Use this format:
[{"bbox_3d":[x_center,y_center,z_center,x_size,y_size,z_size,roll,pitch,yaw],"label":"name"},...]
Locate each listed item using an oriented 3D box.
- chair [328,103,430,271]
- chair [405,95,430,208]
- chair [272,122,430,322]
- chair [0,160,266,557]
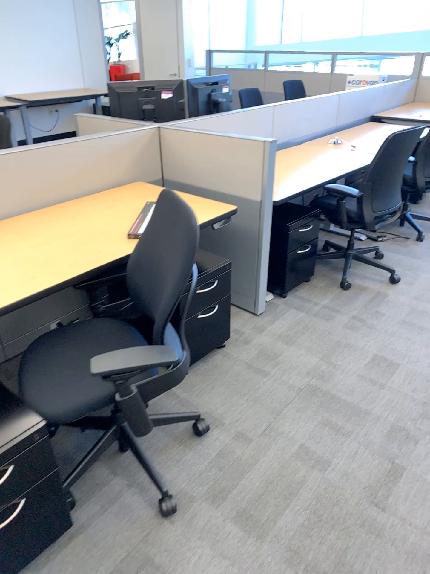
[{"bbox_3d":[1.592,-0.901,3.811,0.750,1.183,0.764,-14,31,-23],"label":"chair"},{"bbox_3d":[3.195,-1.800,5.774,0.750,1.233,0.764,-14,31,-23],"label":"chair"},{"bbox_3d":[0.999,-0.530,3.296,0.751,1.183,0.764,-23,36,-35],"label":"chair"},{"bbox_3d":[-0.319,0.191,1.623,0.680,1.084,0.754,-11,30,-19],"label":"chair"}]
